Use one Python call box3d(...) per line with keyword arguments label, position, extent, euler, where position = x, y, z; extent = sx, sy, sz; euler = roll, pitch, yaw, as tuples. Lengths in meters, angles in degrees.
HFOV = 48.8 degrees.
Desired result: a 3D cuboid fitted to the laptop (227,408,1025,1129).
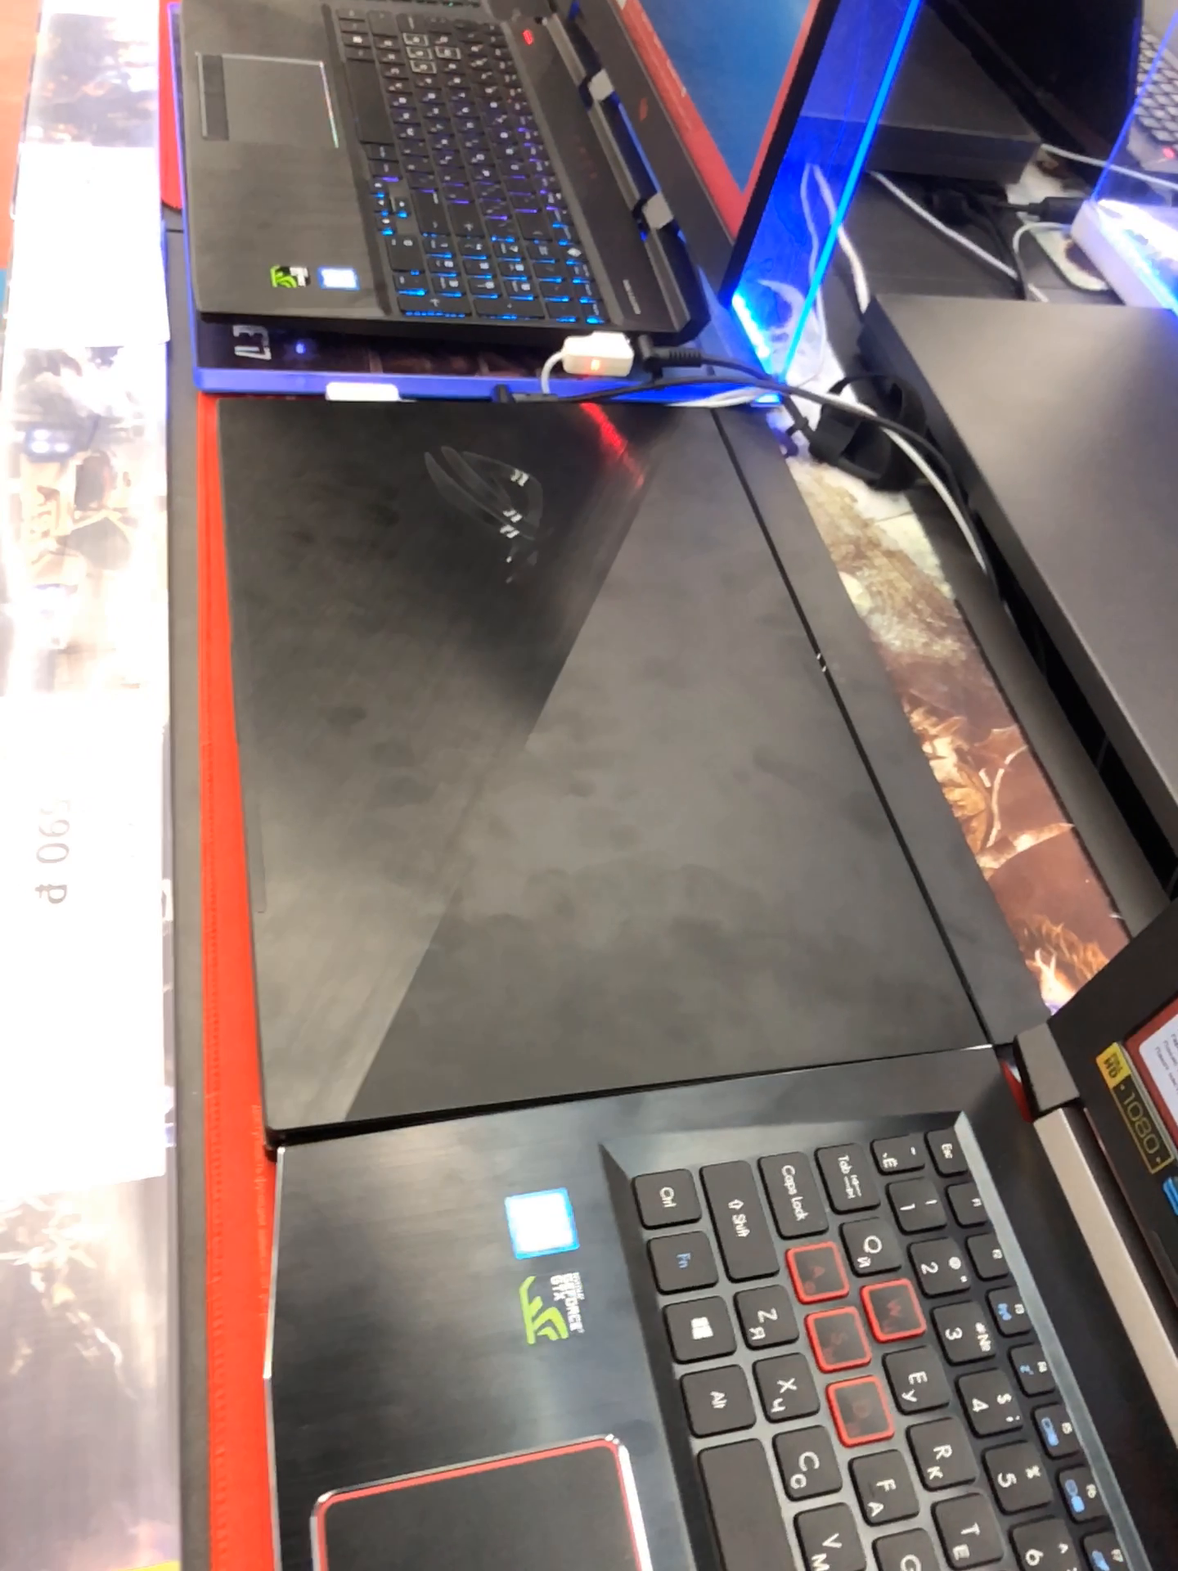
box3d(label="laptop", position=(-0.009, -0.041, 0.520), extent=(0.254, 0.006, 0.349), euler=(-3, 52, -14))
